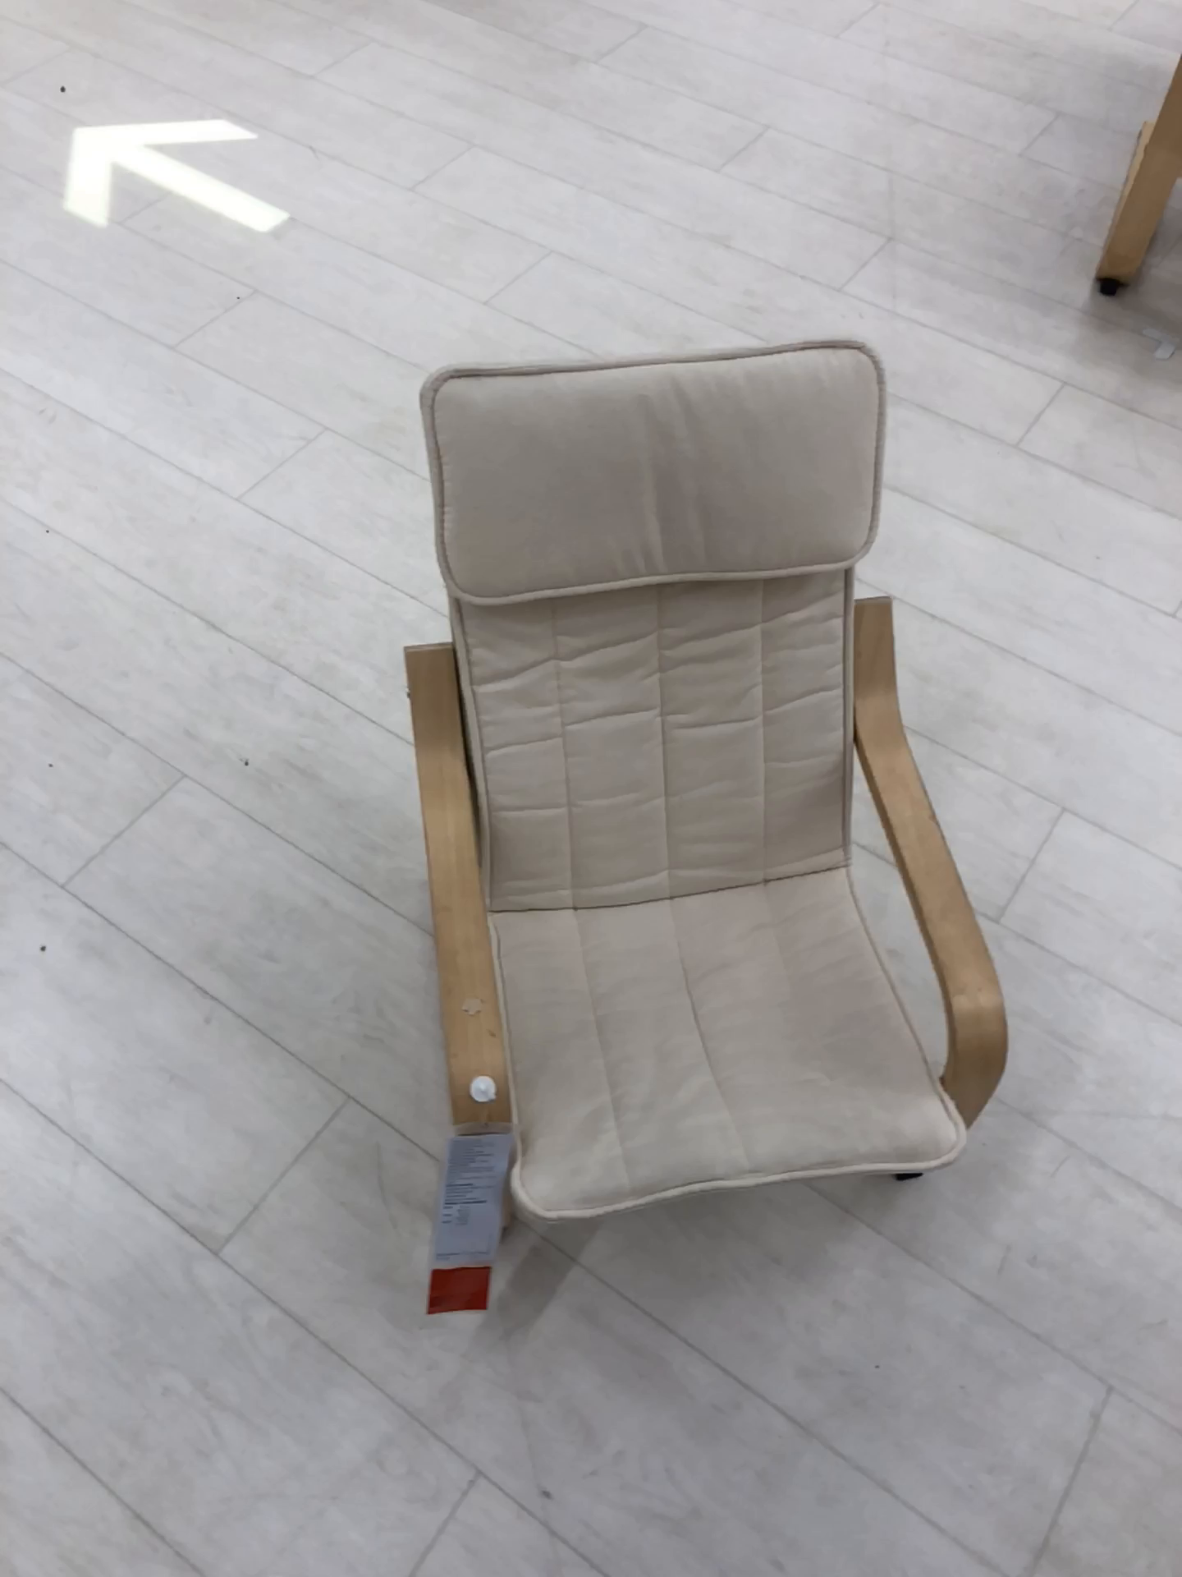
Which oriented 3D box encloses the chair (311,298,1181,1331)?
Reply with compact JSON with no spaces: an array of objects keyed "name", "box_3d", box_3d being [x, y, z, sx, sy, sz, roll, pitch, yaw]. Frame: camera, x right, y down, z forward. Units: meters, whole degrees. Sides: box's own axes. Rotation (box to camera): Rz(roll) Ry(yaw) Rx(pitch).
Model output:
[{"name":"chair","box_3d":[0.083,0.056,1.151,0.530,0.688,0.561,-7,55,-7]}]
